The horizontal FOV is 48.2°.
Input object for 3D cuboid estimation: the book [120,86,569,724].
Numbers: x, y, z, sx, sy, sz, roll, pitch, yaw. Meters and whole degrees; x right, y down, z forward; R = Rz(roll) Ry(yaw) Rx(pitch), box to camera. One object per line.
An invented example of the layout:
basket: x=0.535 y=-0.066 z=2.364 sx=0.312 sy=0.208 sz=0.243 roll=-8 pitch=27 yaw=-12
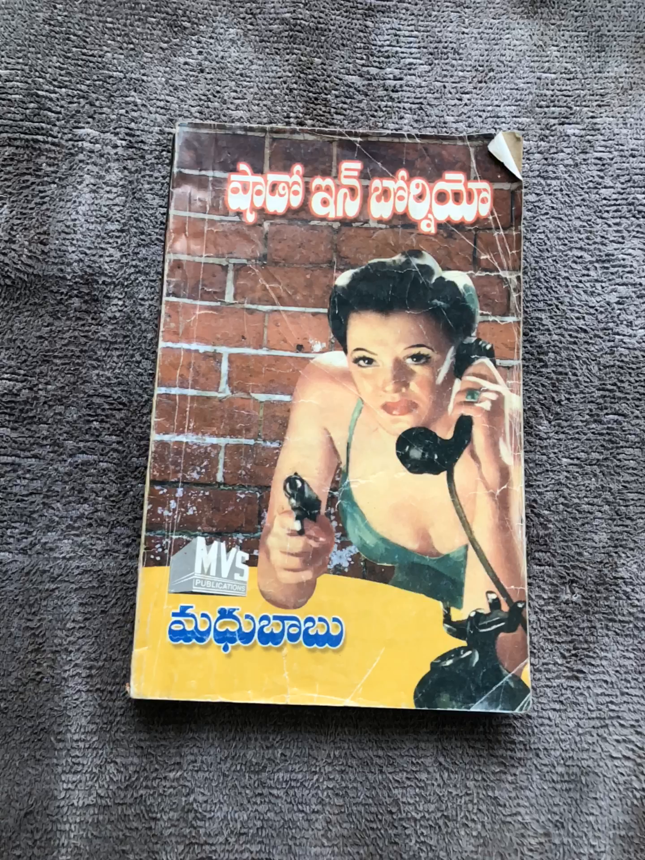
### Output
book: x=0.008 y=-0.007 z=0.193 sx=0.100 sy=0.040 sz=0.150 roll=3 pitch=80 yaw=-3
